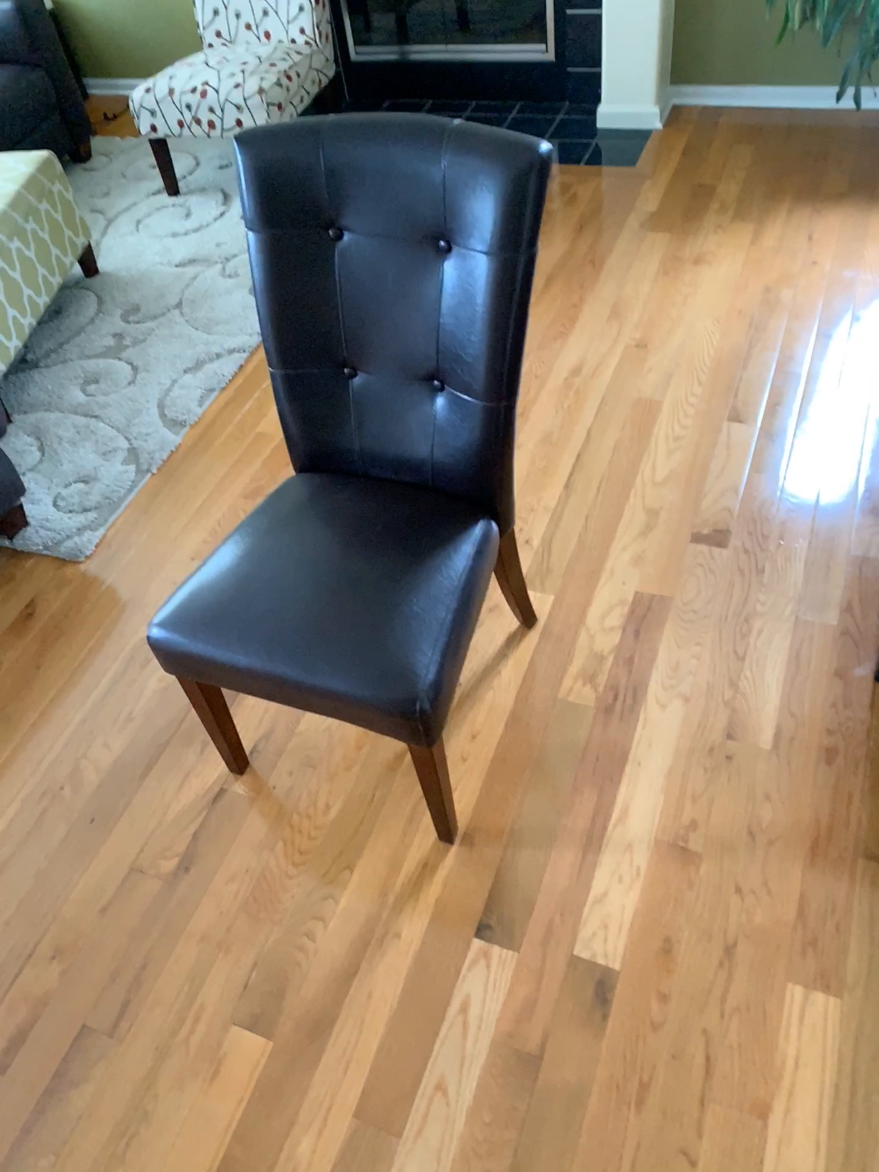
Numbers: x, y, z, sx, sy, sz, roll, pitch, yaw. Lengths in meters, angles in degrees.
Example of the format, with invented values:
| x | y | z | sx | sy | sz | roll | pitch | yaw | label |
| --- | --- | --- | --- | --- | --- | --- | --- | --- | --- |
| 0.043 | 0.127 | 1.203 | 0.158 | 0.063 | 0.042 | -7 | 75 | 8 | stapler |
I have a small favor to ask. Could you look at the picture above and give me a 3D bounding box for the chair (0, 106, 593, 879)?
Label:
| x | y | z | sx | sy | sz | roll | pitch | yaw | label |
| --- | --- | --- | --- | --- | --- | --- | --- | --- | --- |
| -0.111 | -0.129 | 1.495 | 0.538 | 0.977 | 0.726 | 13 | 53 | 20 | chair |
